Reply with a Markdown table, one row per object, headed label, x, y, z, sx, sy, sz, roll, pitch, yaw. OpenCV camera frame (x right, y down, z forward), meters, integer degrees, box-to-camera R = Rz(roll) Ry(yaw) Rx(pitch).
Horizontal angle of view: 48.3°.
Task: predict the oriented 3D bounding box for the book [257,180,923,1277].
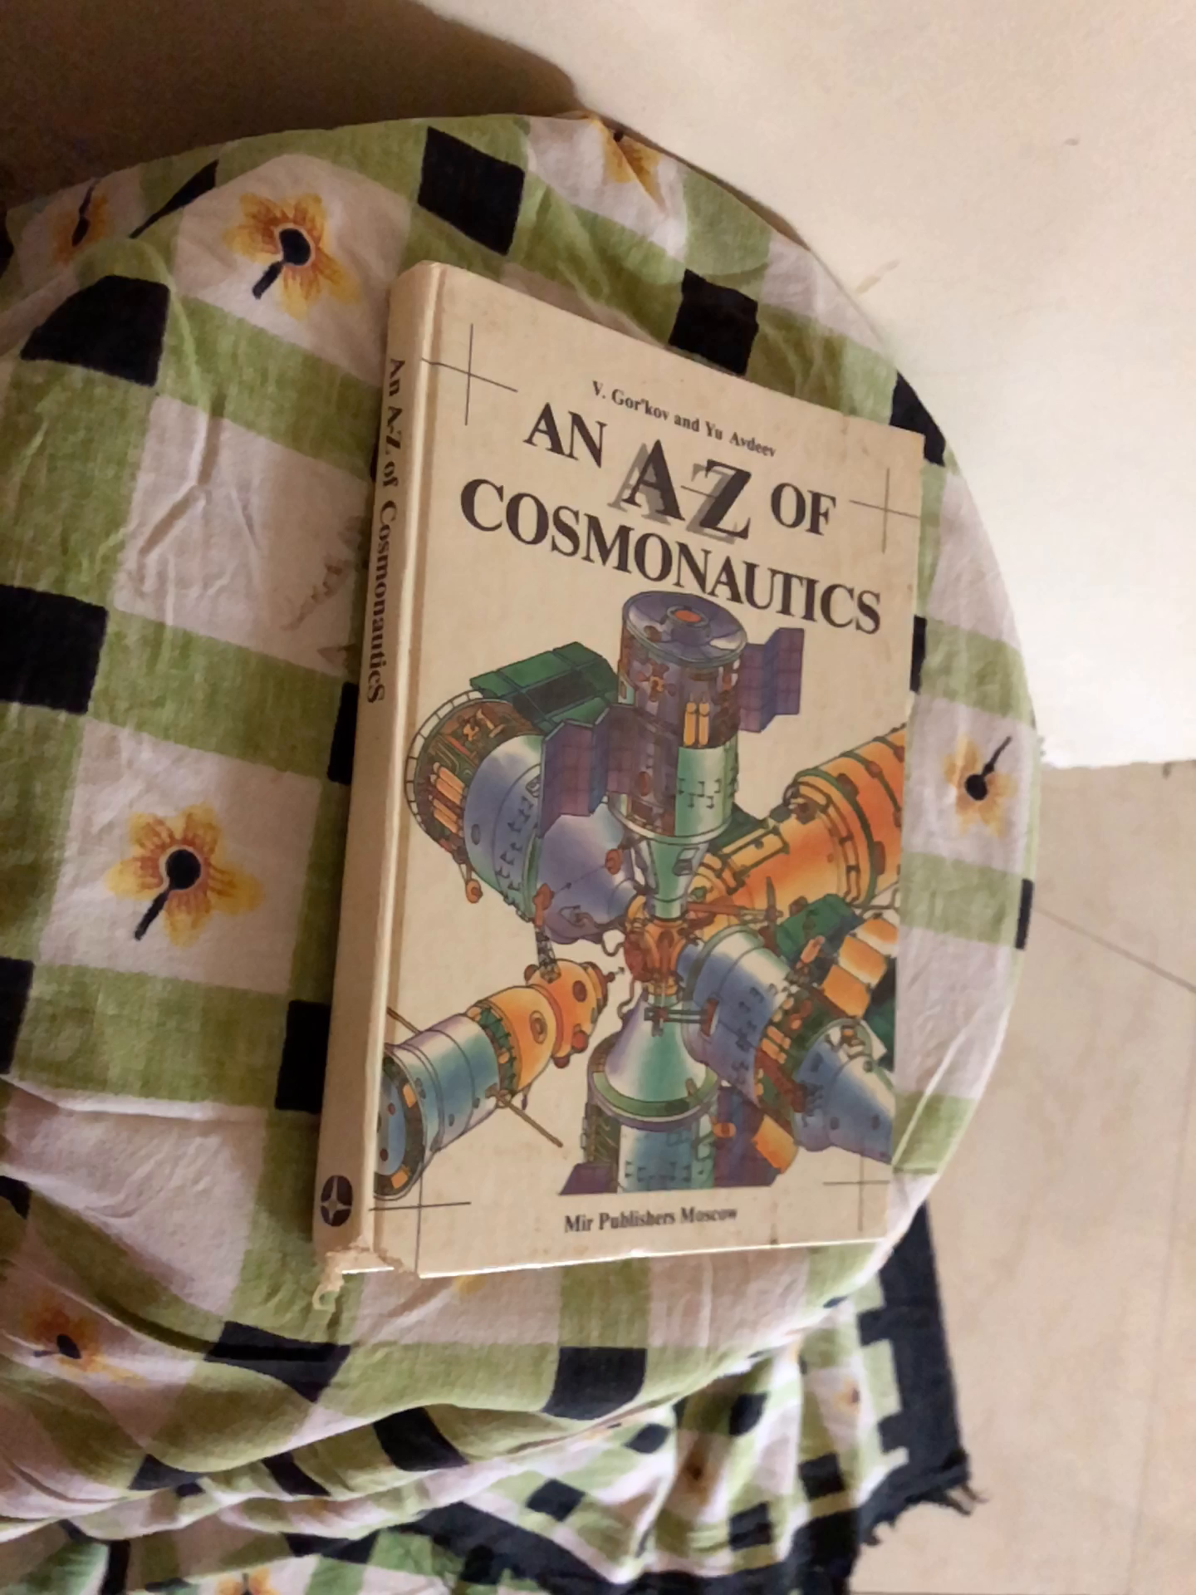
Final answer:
| label | x | y | z | sx | sy | sz | roll | pitch | yaw |
| --- | --- | --- | --- | --- | --- | --- | --- | --- | --- |
| book | 0.009 | -0.010 | 0.398 | 0.181 | 0.060 | 0.270 | 10 | 80 | -35 |
